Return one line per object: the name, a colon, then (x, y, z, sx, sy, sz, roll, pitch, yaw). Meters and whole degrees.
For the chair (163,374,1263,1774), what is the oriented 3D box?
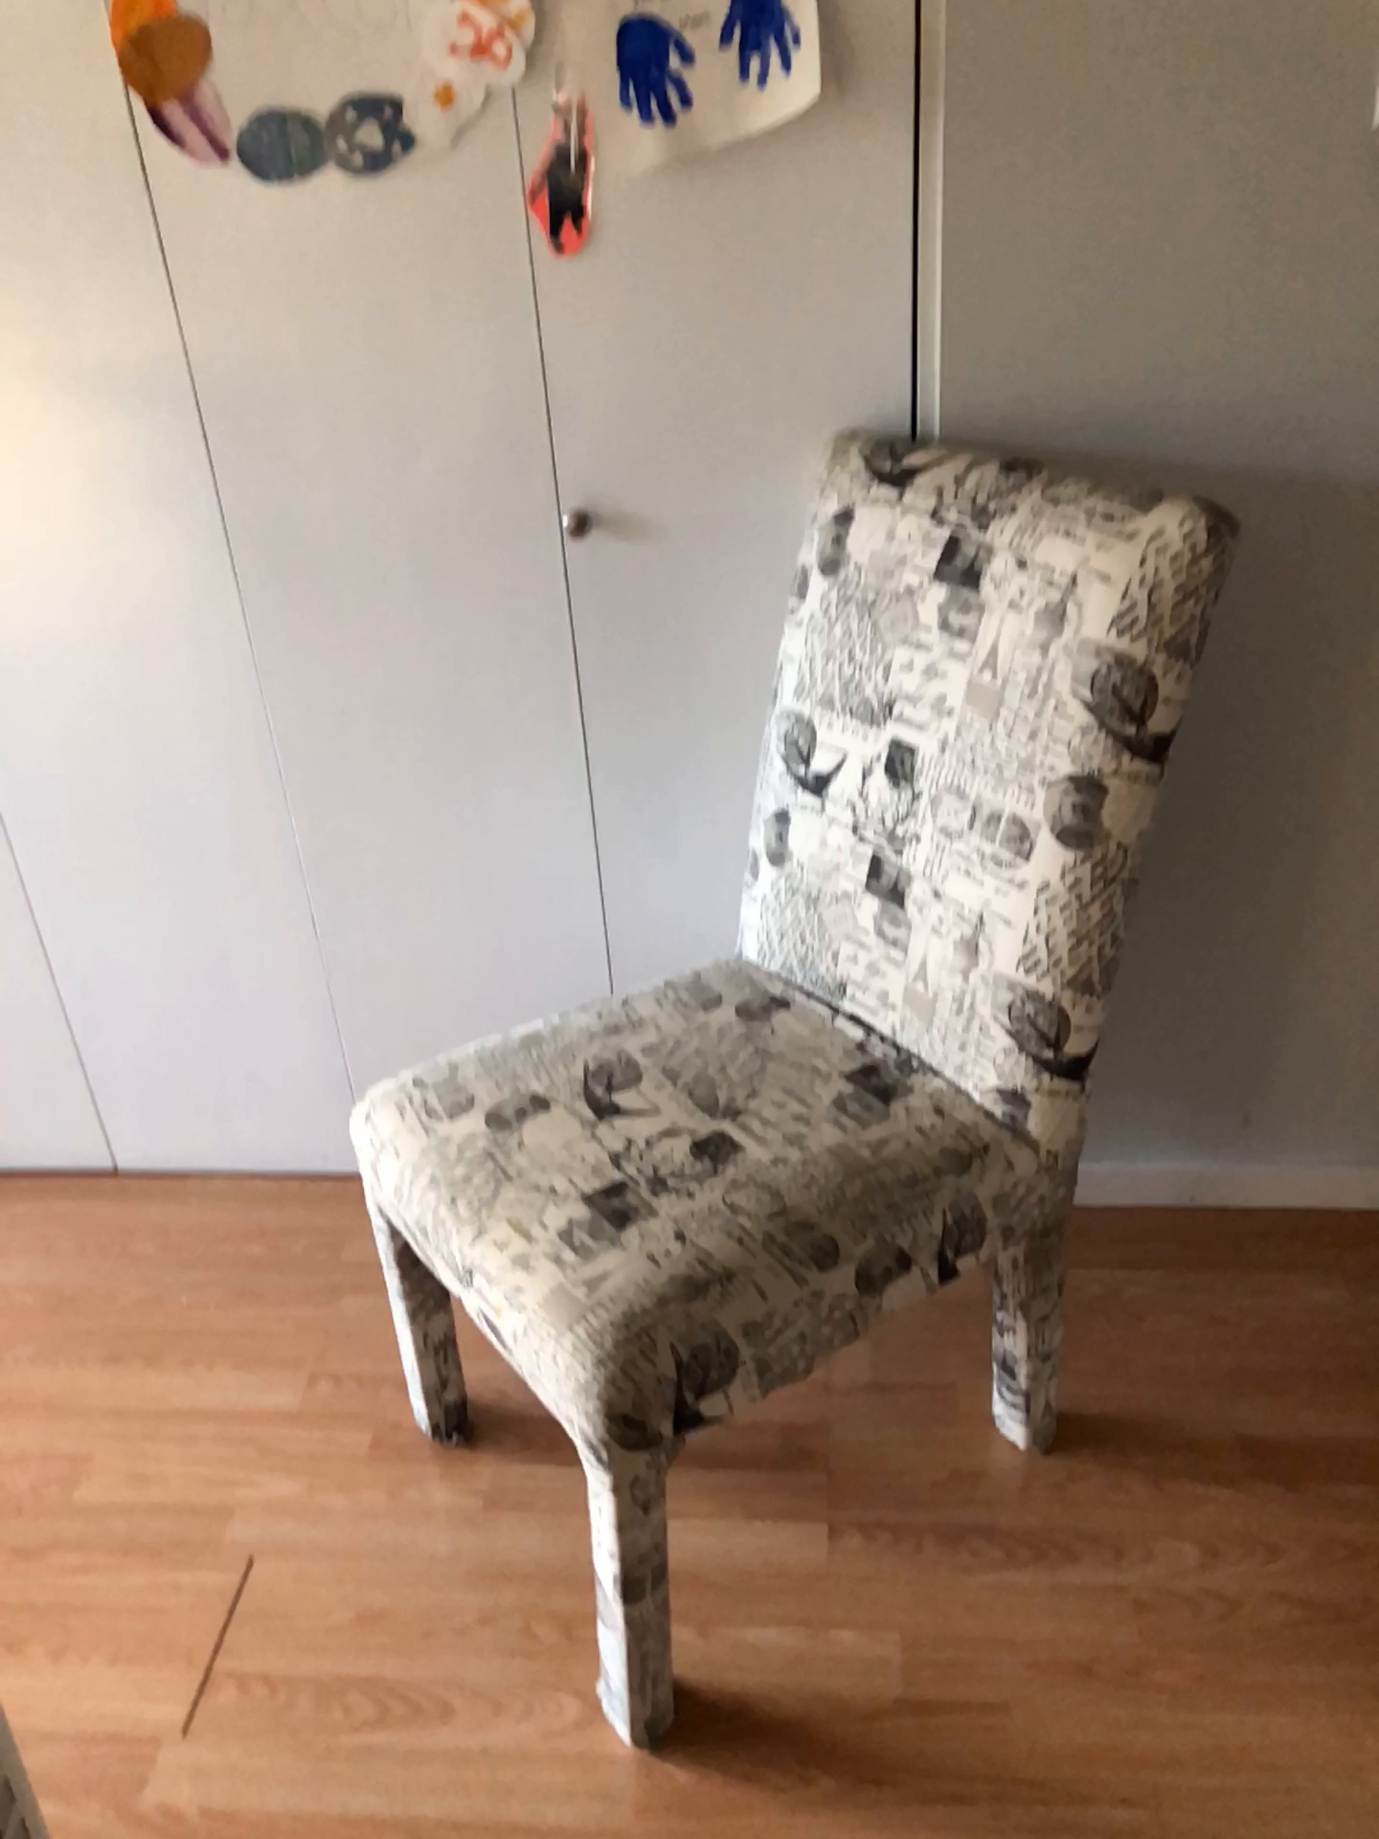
chair: (0.038, 0.097, 1.403, 0.671, 0.997, 0.521, -22, 34, -27)
